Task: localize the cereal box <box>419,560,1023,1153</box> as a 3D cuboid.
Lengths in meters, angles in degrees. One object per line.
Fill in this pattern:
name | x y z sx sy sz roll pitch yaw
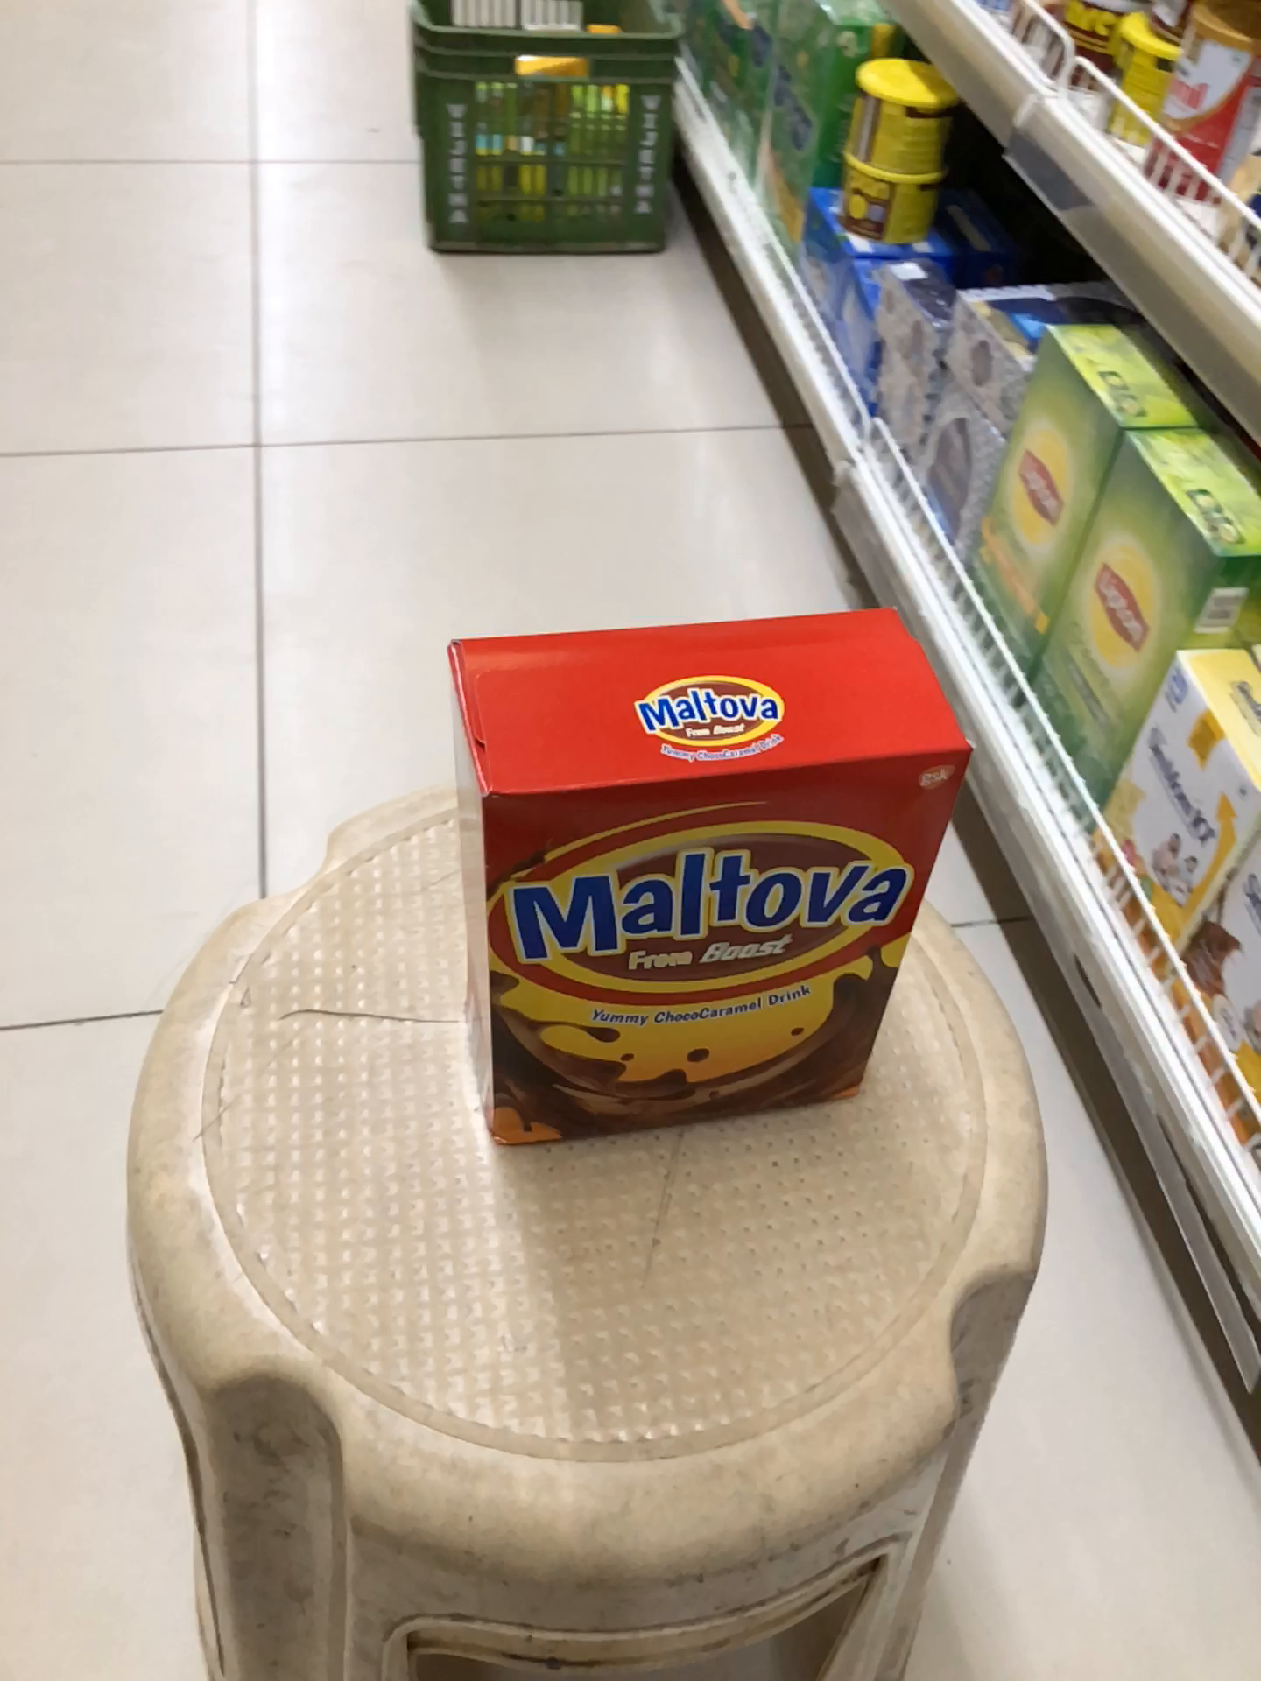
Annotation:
cereal box | 0.016 0.011 0.438 0.150 0.179 0.070 -6 49 -11
